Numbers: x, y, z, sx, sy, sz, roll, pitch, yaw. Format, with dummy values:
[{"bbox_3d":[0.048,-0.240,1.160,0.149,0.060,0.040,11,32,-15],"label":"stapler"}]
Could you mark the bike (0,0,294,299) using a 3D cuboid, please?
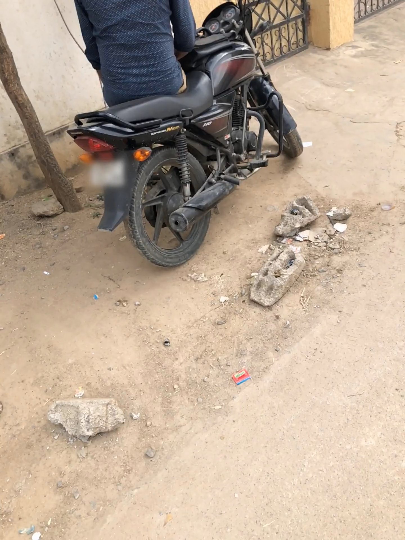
[{"bbox_3d":[-0.080,-0.862,2.451,0.720,1.070,1.675,7,41,26],"label":"bike"}]
